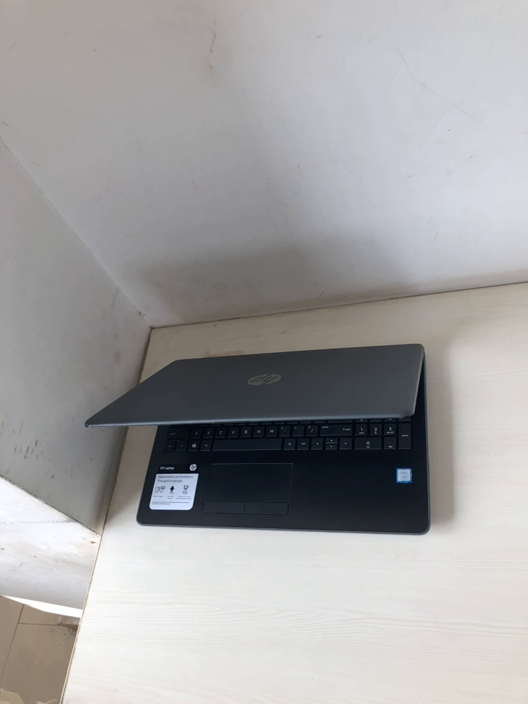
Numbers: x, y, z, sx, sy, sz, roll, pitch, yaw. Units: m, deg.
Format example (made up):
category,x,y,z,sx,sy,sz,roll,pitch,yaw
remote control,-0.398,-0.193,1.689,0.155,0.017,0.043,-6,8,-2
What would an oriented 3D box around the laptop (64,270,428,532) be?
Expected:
category,x,y,z,sx,sy,sz,roll,pitch,yaw
laptop,-0.004,0.062,0.693,0.356,0.157,0.245,-4,54,17
